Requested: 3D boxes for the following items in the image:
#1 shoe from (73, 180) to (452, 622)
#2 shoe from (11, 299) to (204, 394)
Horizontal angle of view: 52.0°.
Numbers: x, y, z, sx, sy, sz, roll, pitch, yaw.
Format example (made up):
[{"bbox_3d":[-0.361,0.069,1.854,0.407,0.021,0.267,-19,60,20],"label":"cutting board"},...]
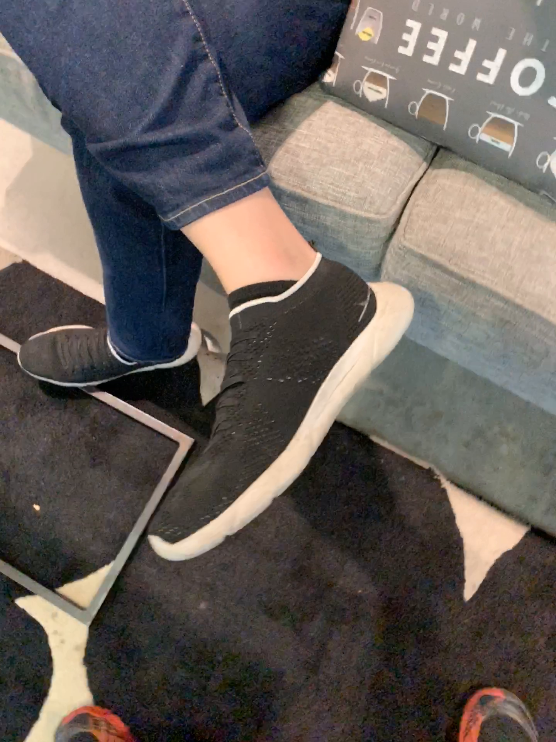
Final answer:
[{"bbox_3d":[-0.006,0.017,0.430,0.132,0.112,0.276,35,67,-4],"label":"shoe"},{"bbox_3d":[-0.287,-0.040,0.974,0.303,0.074,0.116,-6,76,3],"label":"shoe"}]
